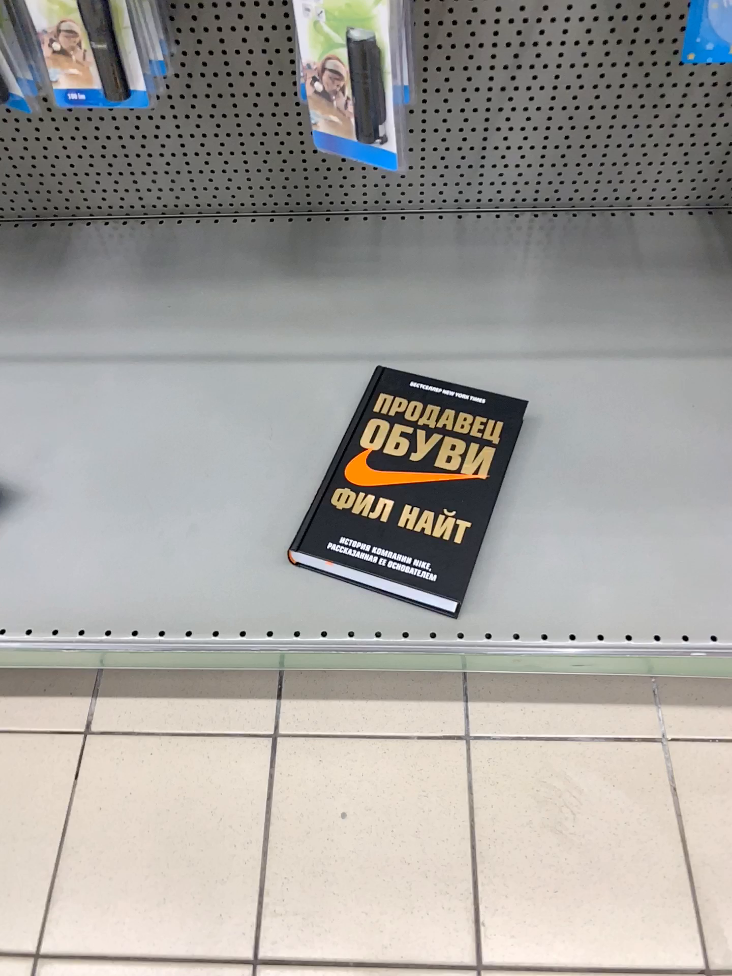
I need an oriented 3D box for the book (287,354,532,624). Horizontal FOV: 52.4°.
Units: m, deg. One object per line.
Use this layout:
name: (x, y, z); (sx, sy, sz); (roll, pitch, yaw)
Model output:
book: (0.050, -0.010, 0.746); (0.166, 0.049, 0.250); (17, 59, 13)
